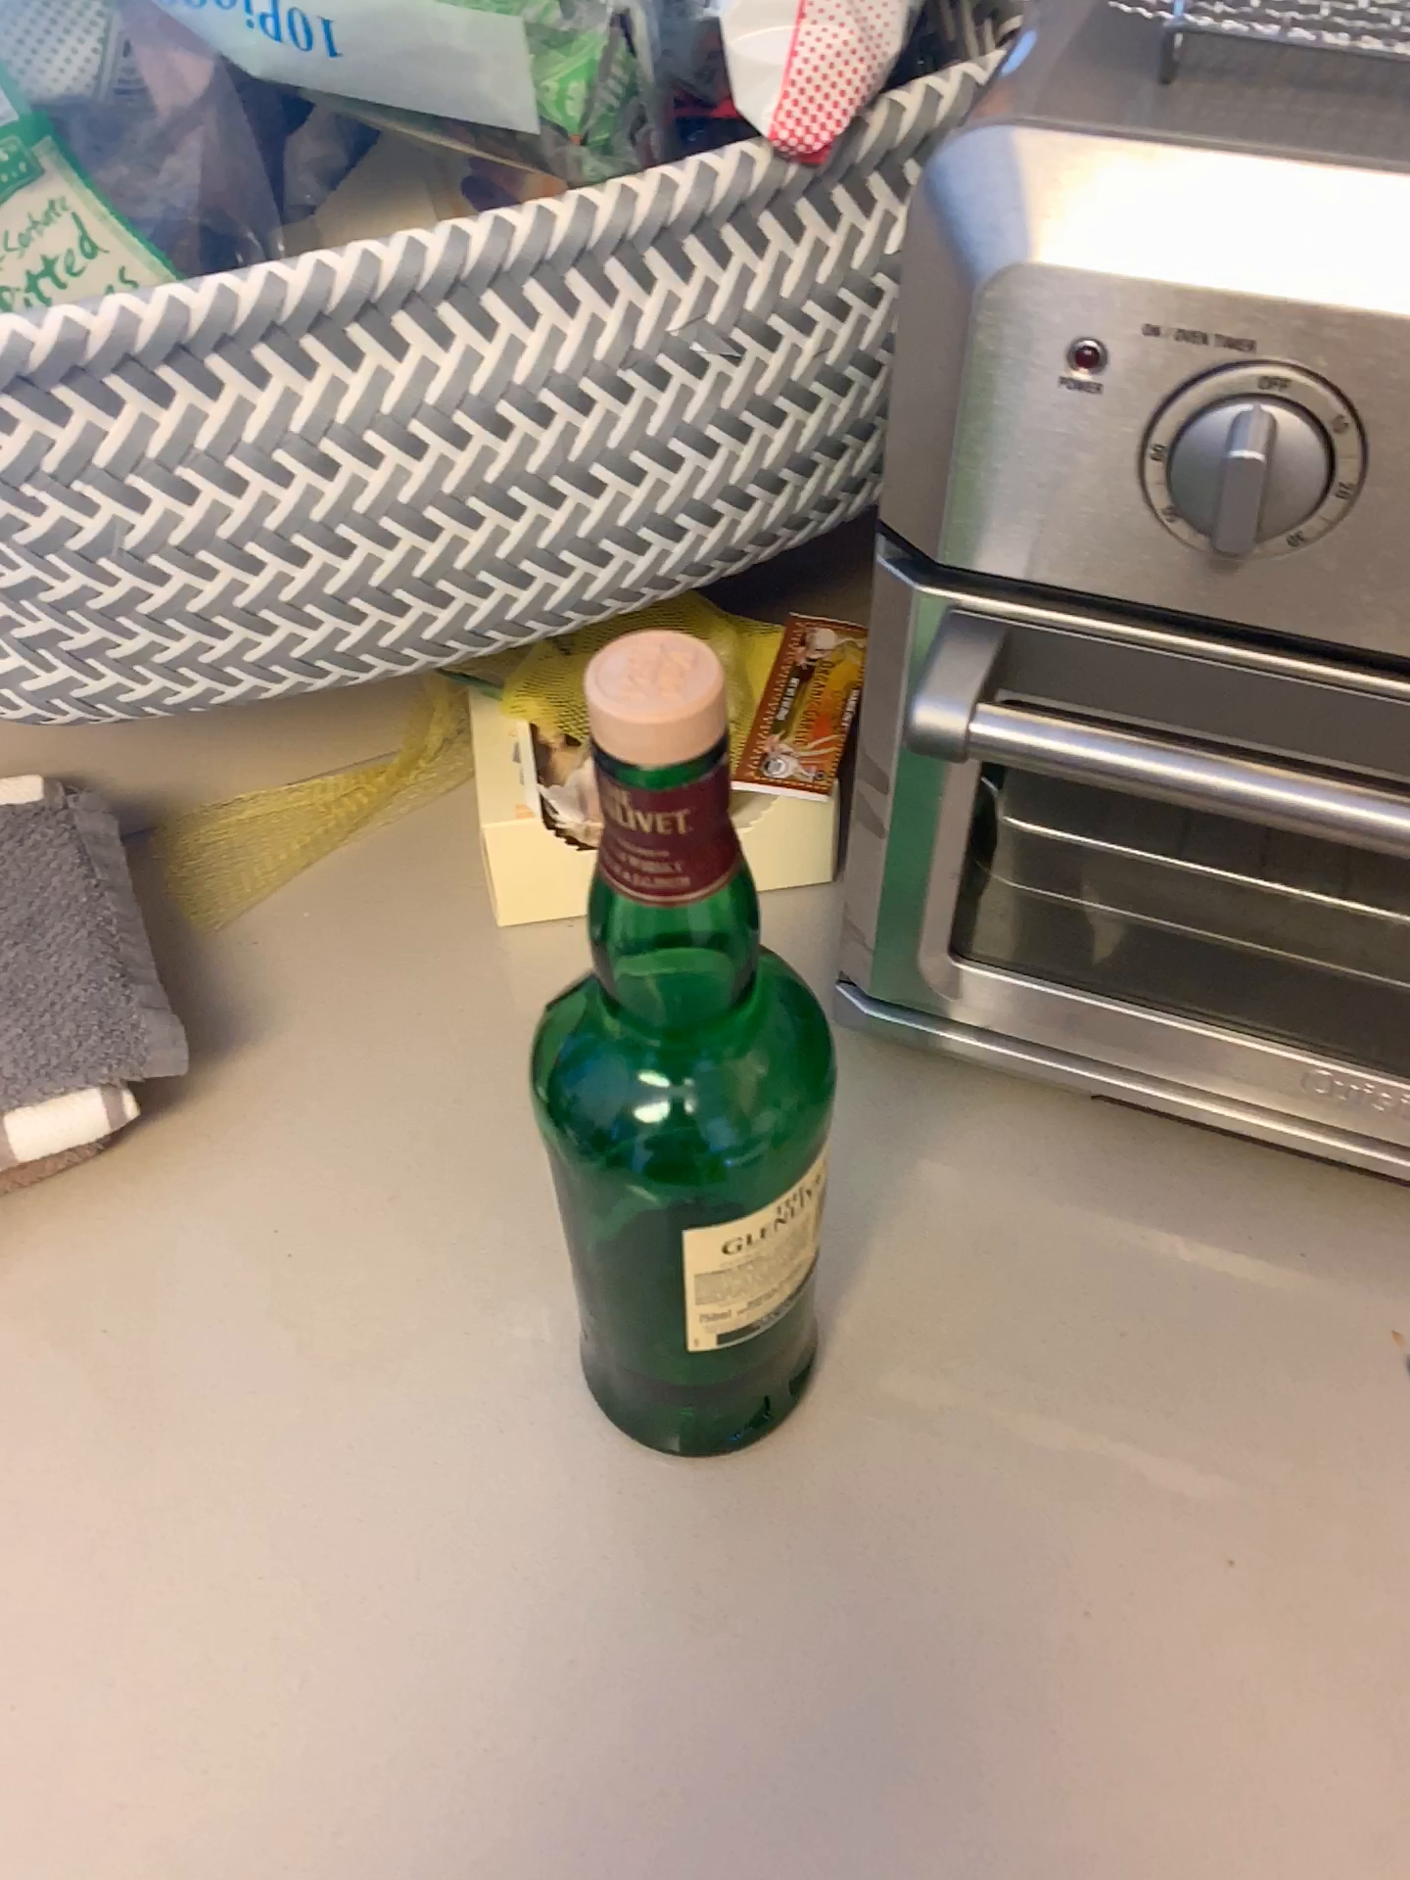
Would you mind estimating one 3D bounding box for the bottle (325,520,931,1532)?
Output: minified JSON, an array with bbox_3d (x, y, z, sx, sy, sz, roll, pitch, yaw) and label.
[{"bbox_3d":[-0.011,0.045,0.373,0.080,0.278,0.080,-1,48,1],"label":"bottle"}]
